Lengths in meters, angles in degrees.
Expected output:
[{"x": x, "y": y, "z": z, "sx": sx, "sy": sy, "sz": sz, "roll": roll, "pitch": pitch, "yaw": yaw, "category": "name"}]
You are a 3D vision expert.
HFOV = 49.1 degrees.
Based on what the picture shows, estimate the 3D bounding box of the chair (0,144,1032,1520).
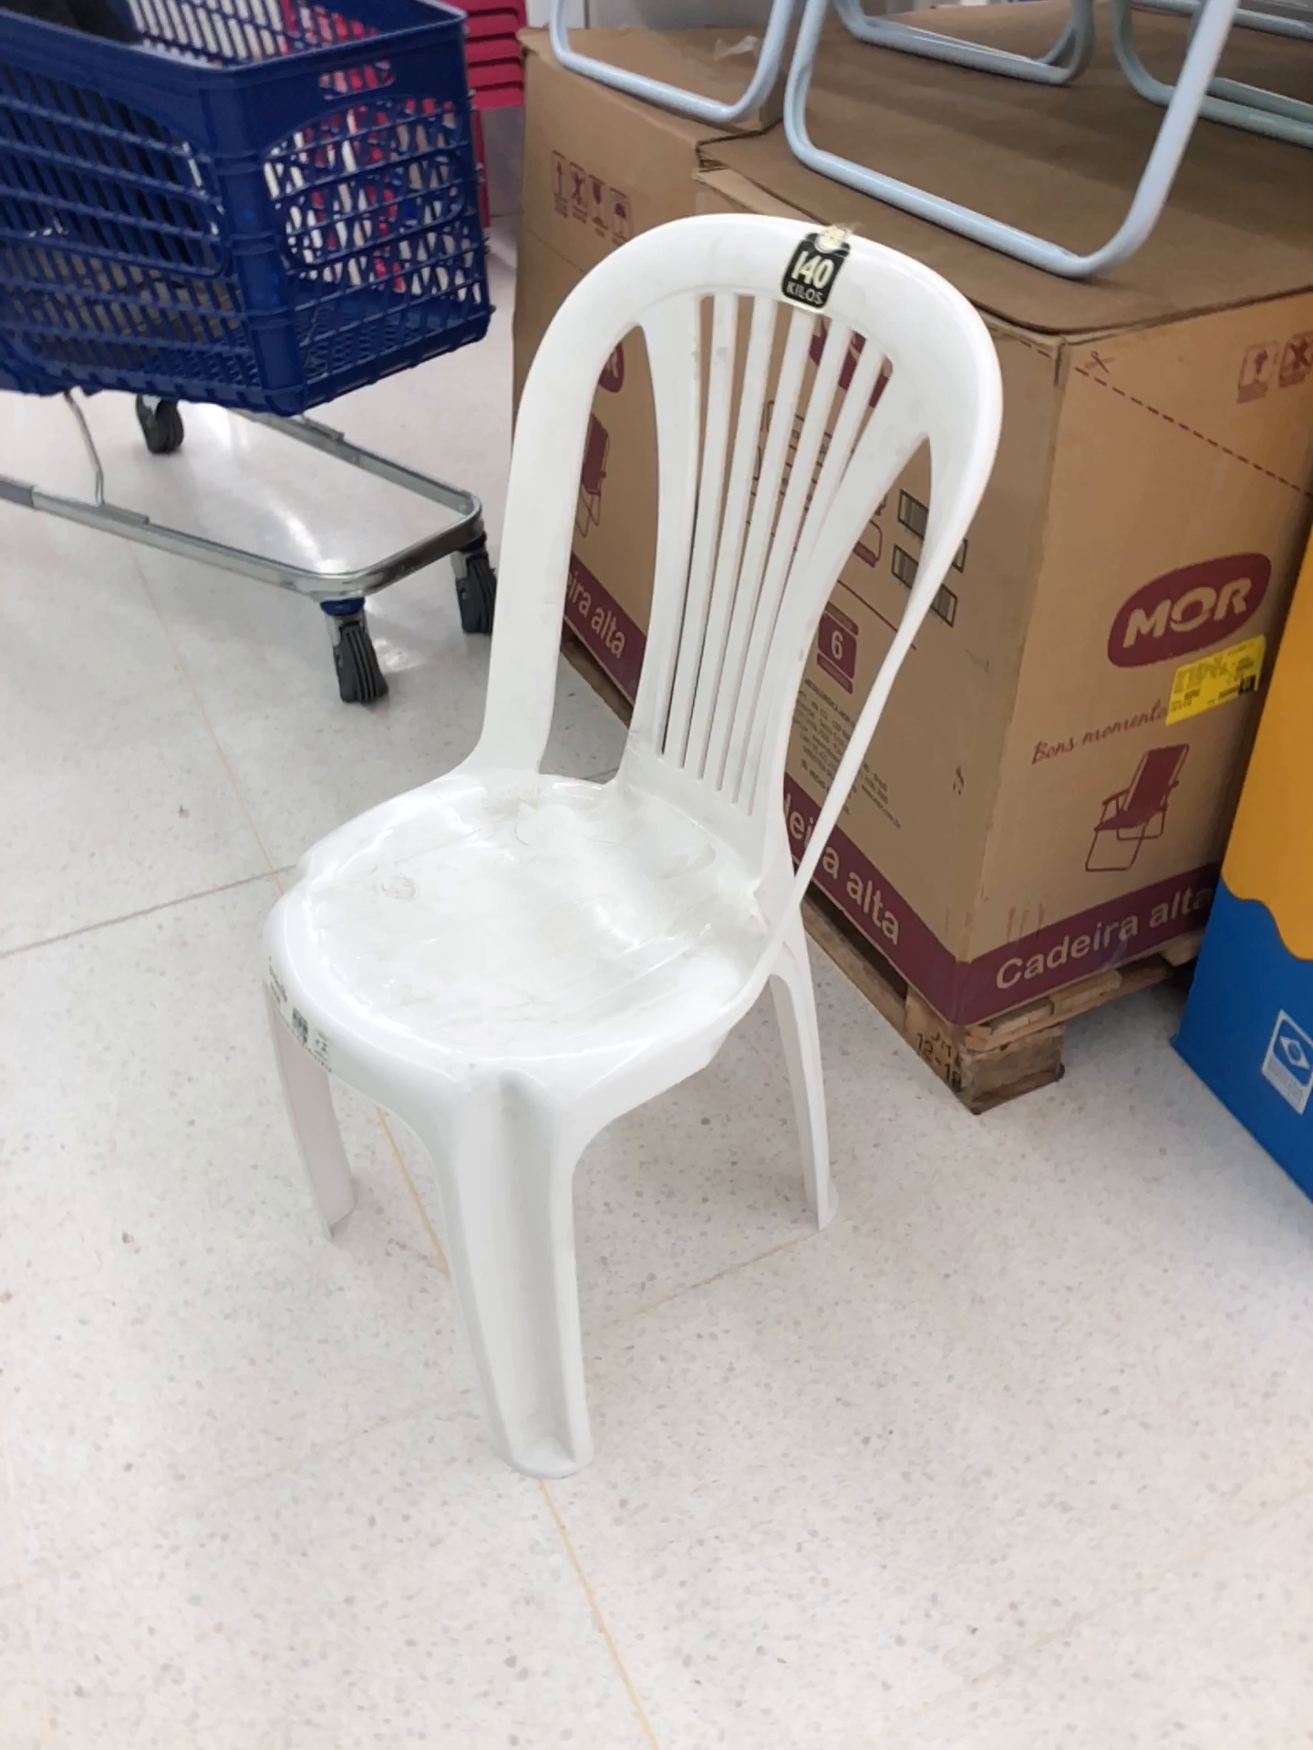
[{"x": -0.087, "y": -0.029, "z": 1.102, "sx": 0.461, "sy": 0.834, "sz": 0.442, "roll": -30, "pitch": 46, "yaw": -30, "category": "chair"}]
